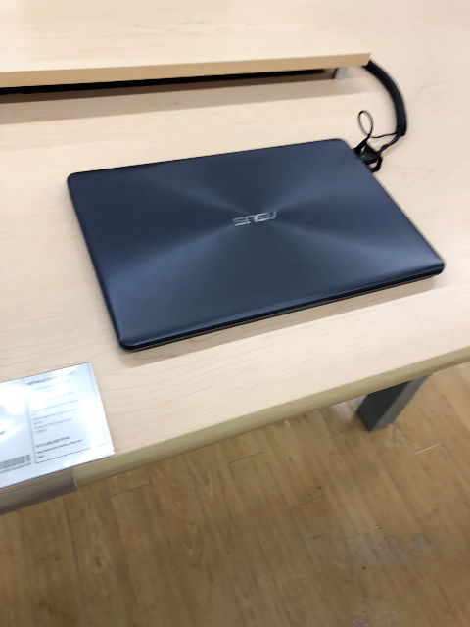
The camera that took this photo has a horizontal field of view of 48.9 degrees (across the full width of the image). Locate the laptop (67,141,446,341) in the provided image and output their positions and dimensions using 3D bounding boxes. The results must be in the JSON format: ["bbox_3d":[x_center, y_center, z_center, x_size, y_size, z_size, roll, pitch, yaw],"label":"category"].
[{"bbox_3d":[0.022,-0.101,0.557,0.346,0.002,0.229,-14,55,-20],"label":"laptop"}]
